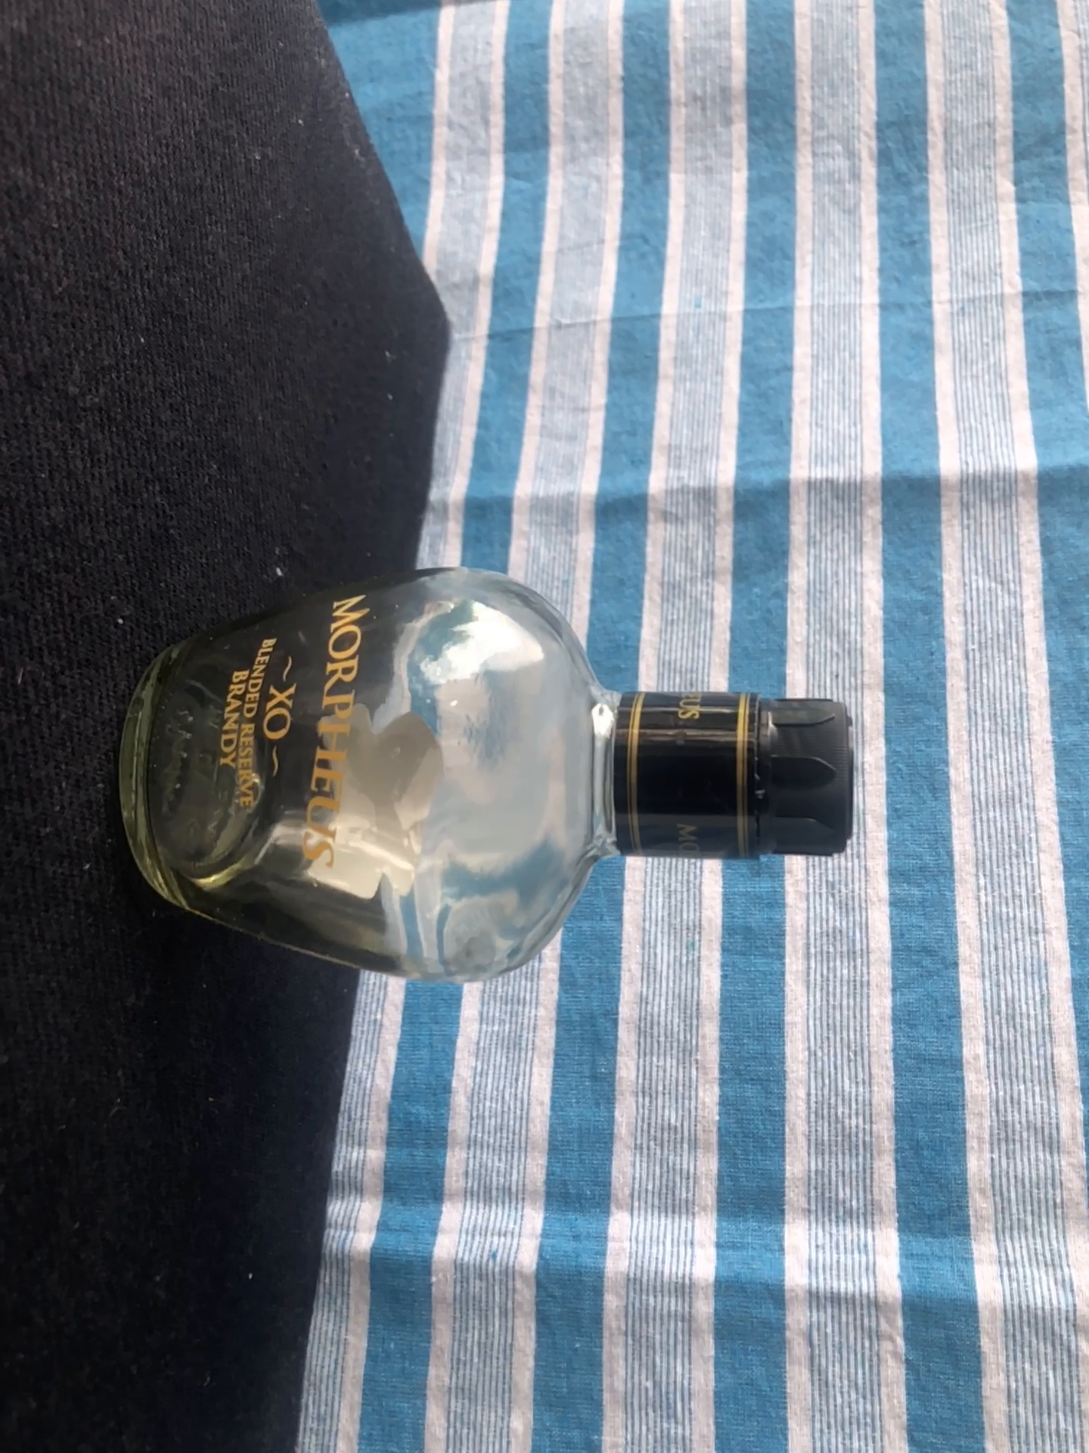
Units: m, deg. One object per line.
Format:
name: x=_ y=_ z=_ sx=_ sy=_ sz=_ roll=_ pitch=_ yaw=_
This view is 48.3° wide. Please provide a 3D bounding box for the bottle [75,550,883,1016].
bottle: x=-0.007 y=0.012 z=0.219 sx=0.050 sy=0.129 sz=0.070 roll=46 pitch=46 yaw=-71
